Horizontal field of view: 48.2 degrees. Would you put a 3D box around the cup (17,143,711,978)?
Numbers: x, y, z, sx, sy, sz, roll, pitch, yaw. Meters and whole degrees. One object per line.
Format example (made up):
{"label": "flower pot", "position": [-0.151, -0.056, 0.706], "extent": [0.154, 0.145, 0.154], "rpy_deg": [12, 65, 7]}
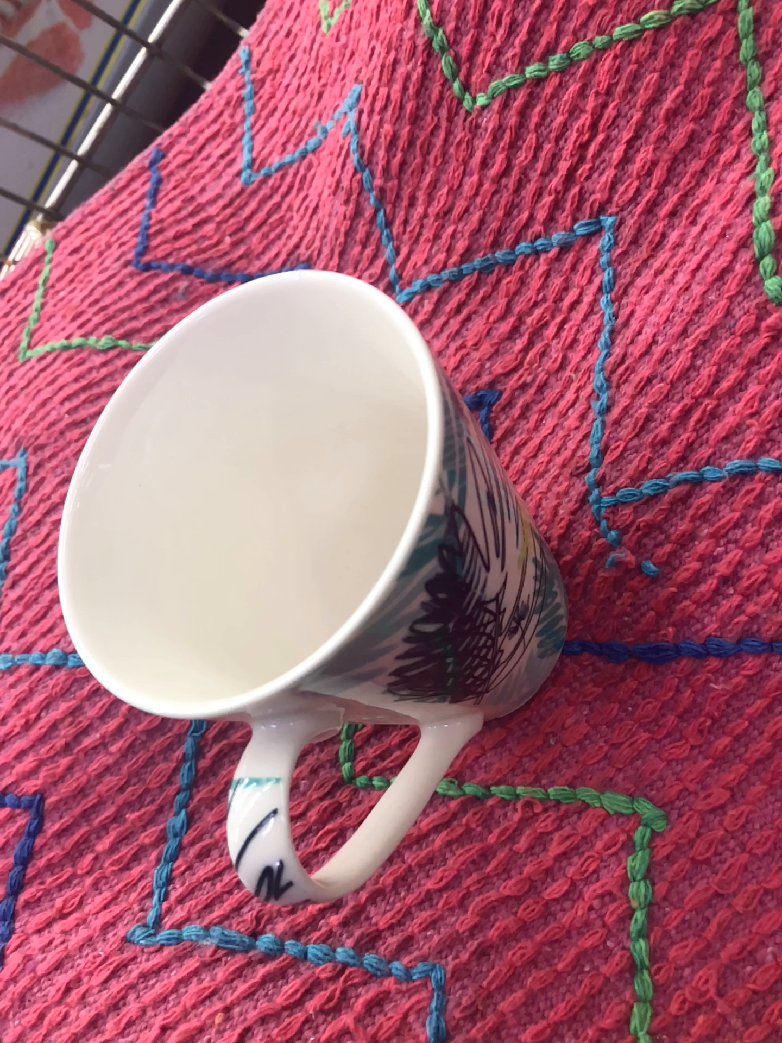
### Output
{"label": "cup", "position": [-0.006, 0.015, 0.168], "extent": [0.090, 0.080, 0.110], "rpy_deg": [-18, 71, 26]}
